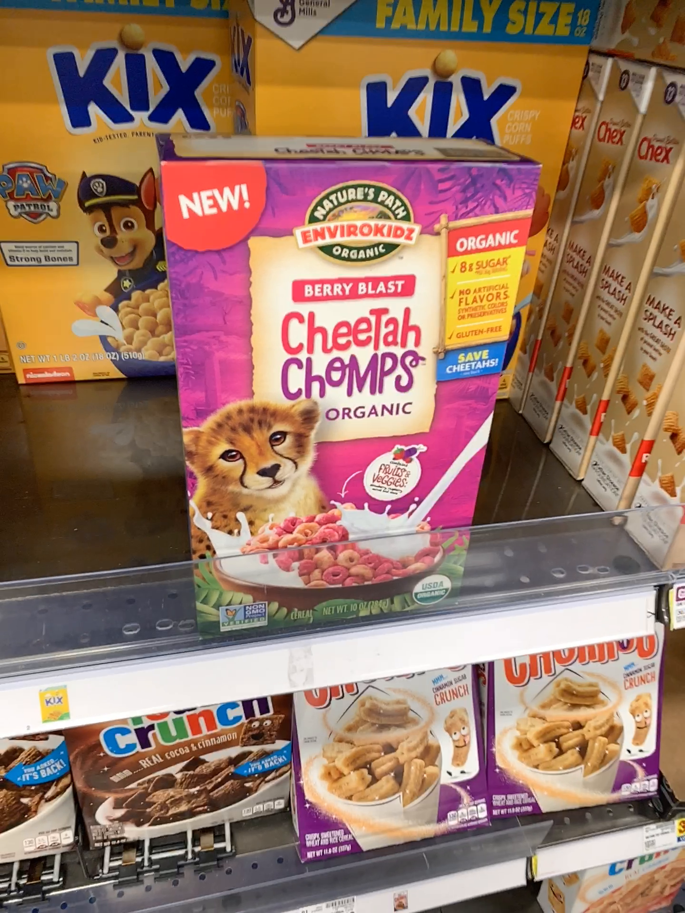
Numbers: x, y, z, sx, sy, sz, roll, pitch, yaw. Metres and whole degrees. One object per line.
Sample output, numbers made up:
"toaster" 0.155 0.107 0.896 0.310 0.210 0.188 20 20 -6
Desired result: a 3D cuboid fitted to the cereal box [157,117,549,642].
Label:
"cereal box" -0.004 -0.027 0.375 0.160 0.269 0.060 -4 34 -12
